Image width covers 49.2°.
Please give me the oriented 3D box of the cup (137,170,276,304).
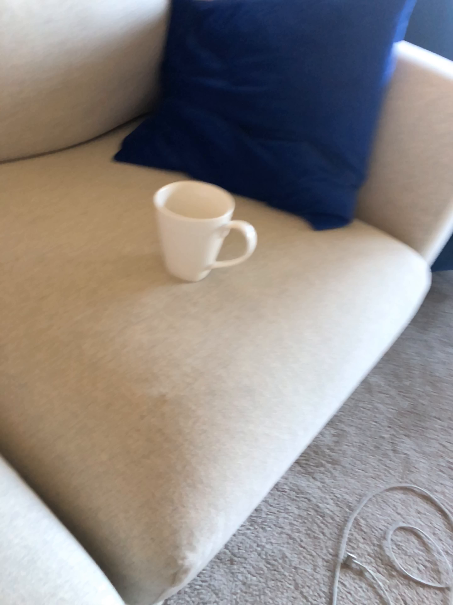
[{"bbox_3d":[-0.027,-0.087,0.630,0.130,0.090,0.100,31,43,18],"label":"cup"}]
